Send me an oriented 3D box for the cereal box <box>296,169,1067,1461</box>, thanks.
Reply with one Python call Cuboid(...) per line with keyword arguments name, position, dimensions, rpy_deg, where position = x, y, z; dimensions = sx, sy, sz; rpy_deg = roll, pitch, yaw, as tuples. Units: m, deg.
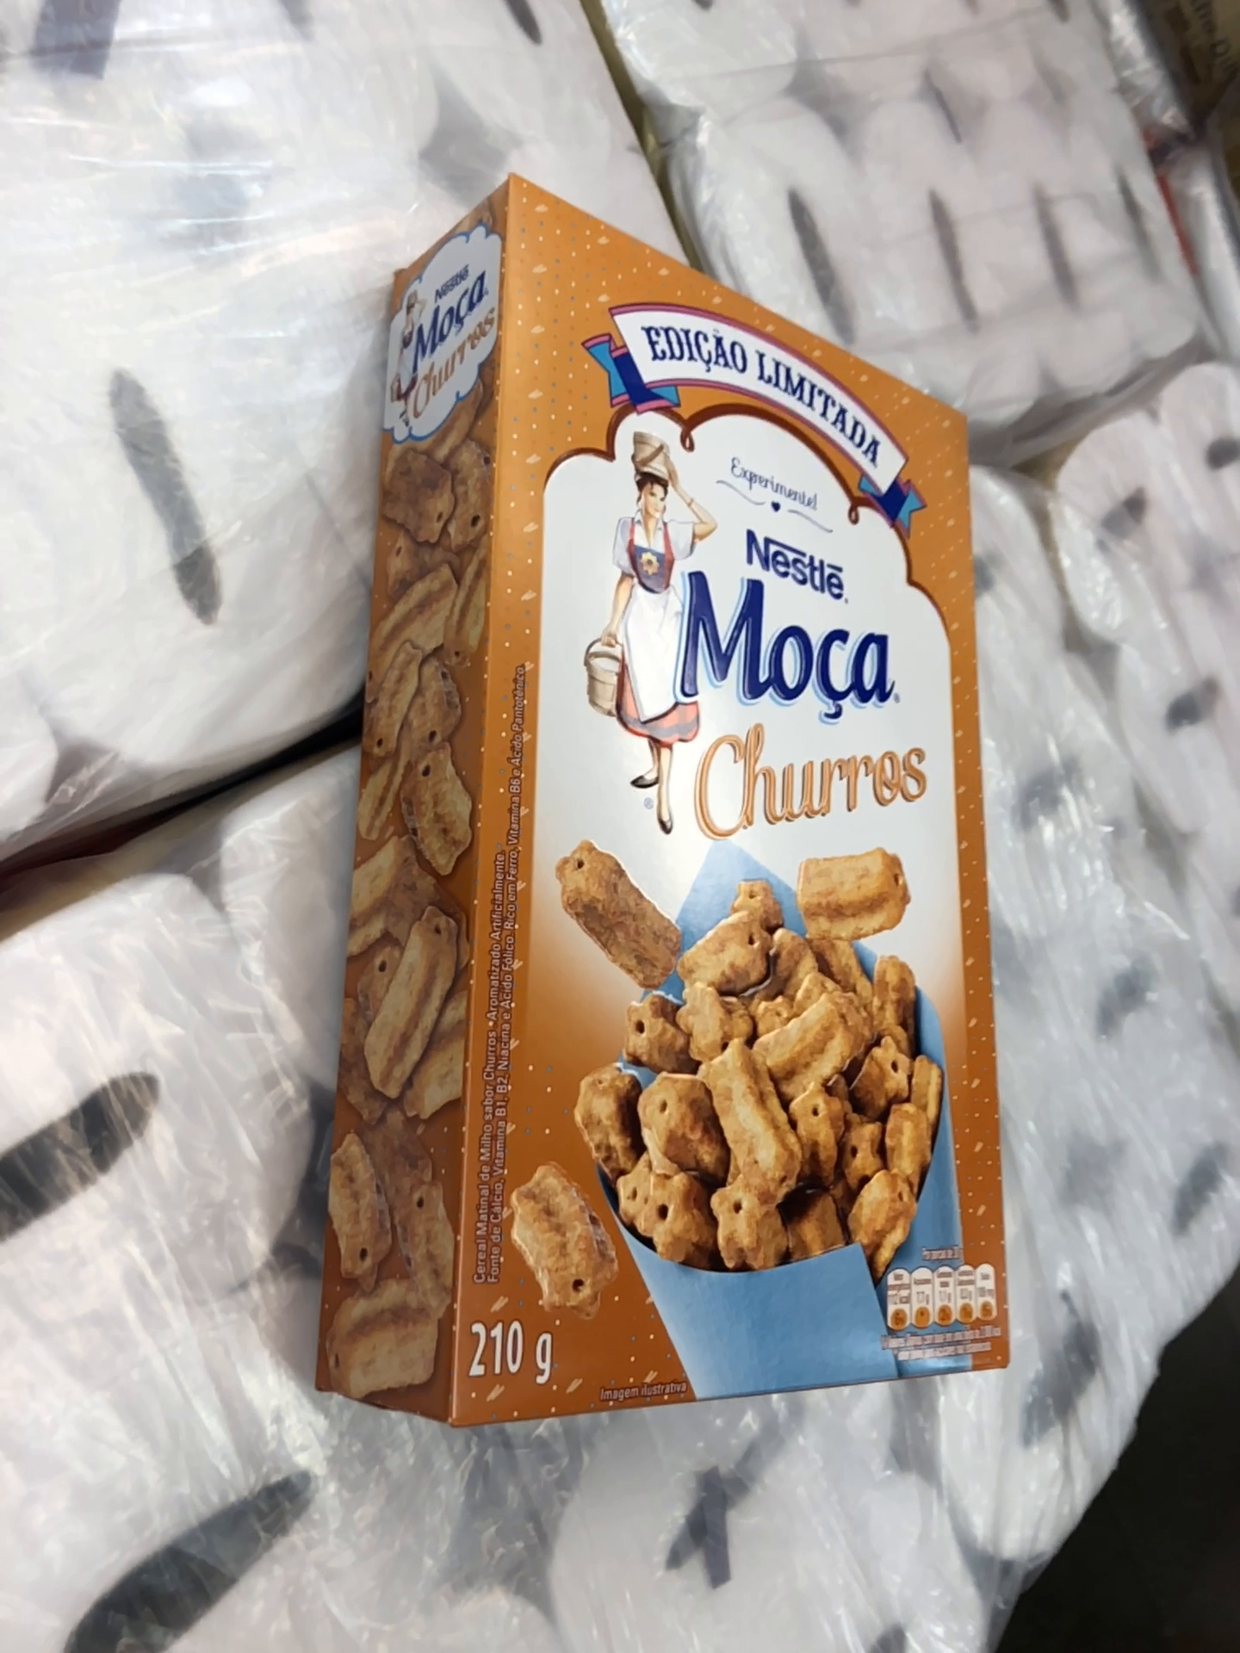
Cuboid(name="cereal box", position=(0.024, 0.003, 0.318), dimensions=(0.171, 0.050, 0.240), rpy_deg=(12, 72, -37))
